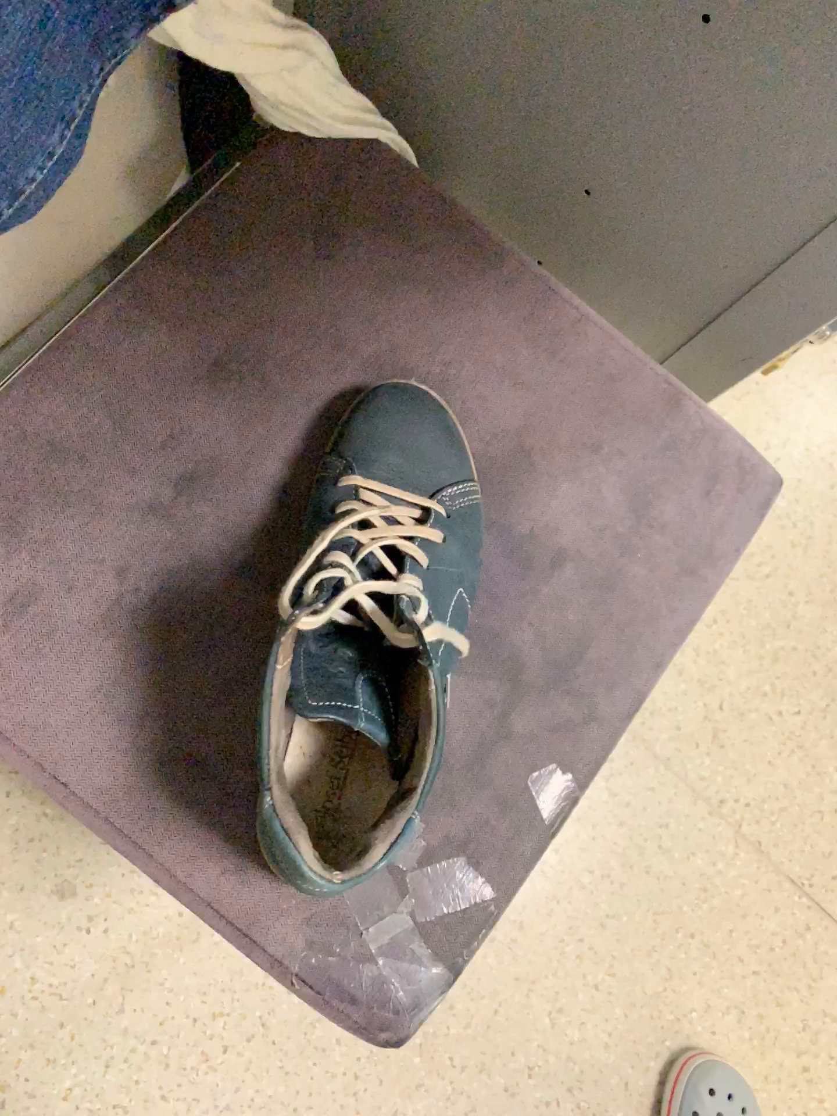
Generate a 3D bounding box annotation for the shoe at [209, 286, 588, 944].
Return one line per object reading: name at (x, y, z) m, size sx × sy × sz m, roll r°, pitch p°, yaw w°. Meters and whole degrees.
shoe at (-0.014, 0.028, 0.408) m, size 0.103 × 0.143 × 0.245 m, roll 14°, pitch 76°, yaw -9°
